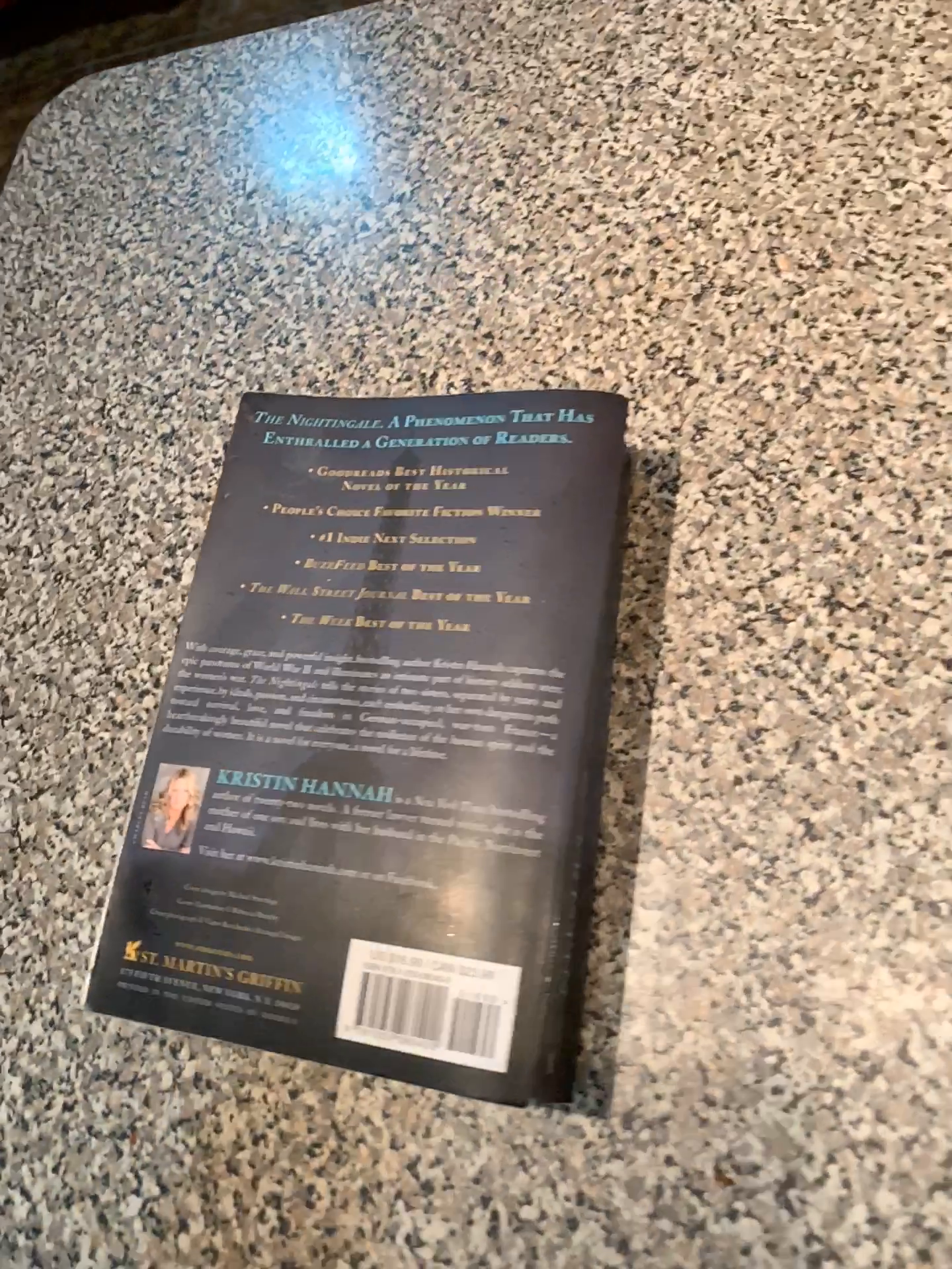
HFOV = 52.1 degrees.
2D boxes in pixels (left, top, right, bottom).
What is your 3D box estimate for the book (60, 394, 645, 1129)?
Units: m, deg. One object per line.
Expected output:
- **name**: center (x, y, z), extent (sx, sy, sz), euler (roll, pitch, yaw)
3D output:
- **book**: center (-0.031, 0.029, 0.319), extent (0.139, 0.056, 0.207), euler (3, 71, 22)
